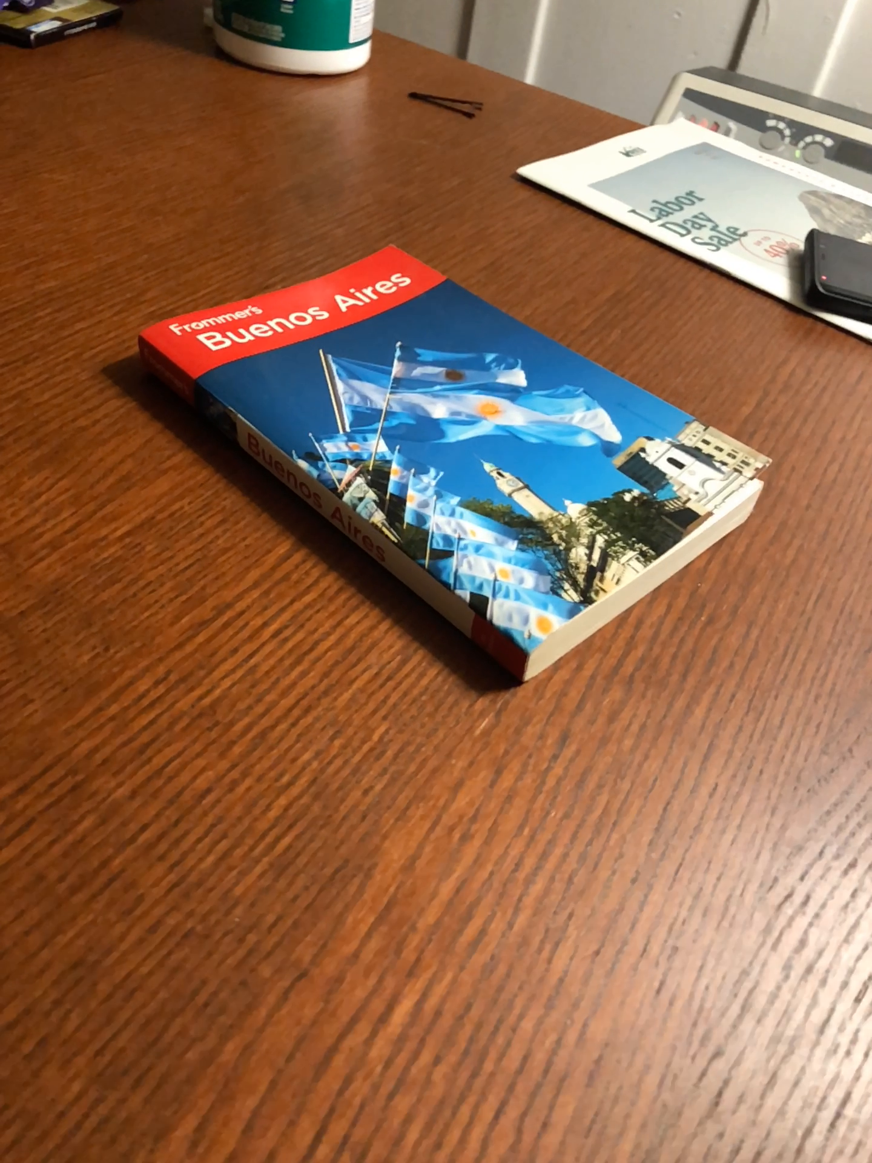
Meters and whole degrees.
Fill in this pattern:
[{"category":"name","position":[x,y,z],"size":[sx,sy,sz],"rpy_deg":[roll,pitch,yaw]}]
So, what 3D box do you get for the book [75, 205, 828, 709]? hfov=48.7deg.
[{"category":"book","position":[0.004,-0.068,0.348],"size":[0.220,0.020,0.161],"rpy_deg":[37,49,25]}]
